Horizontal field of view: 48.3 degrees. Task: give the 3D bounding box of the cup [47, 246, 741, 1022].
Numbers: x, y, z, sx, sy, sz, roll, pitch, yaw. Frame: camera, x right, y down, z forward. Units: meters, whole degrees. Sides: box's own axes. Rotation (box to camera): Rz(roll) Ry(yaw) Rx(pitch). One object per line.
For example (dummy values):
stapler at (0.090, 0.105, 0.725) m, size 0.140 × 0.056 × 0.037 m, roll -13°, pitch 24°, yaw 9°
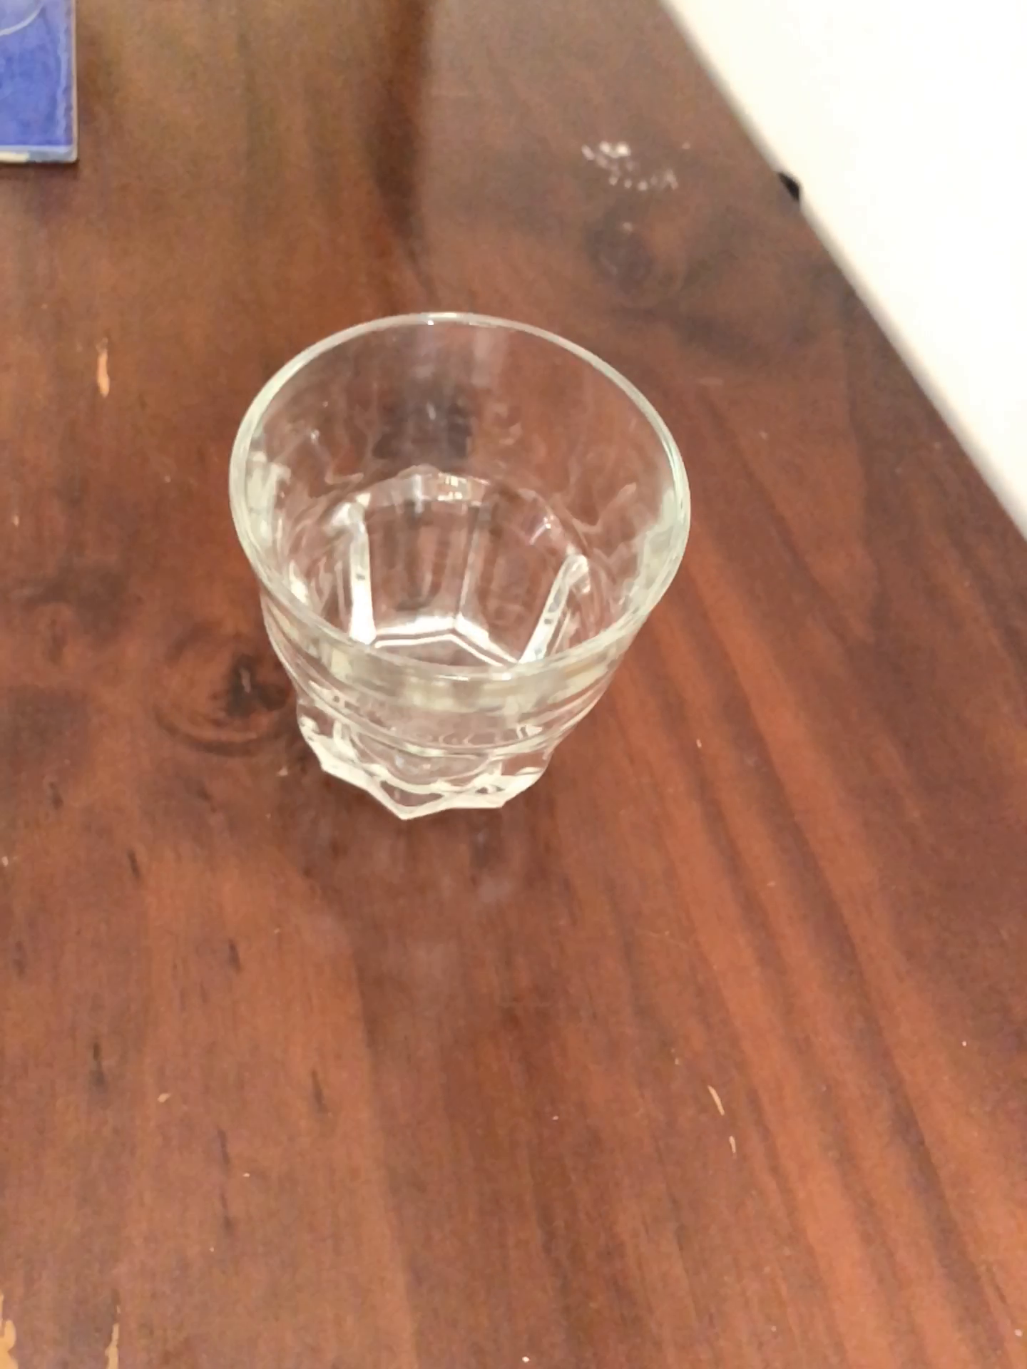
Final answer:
cup at (-0.019, -0.010, 0.236) m, size 0.090 × 0.095 × 0.101 m, roll 18°, pitch 51°, yaw 5°
